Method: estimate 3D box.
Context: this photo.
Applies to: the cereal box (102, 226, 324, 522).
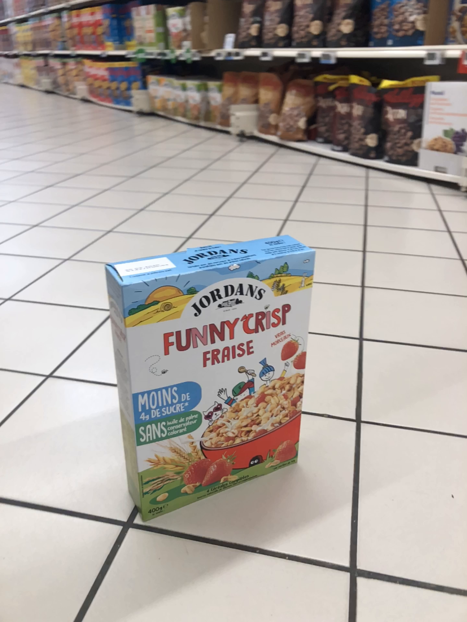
[{"bbox_3d":[-0.013,0.054,0.454,0.171,0.229,0.050,-12,28,-25],"label":"cereal box"}]
